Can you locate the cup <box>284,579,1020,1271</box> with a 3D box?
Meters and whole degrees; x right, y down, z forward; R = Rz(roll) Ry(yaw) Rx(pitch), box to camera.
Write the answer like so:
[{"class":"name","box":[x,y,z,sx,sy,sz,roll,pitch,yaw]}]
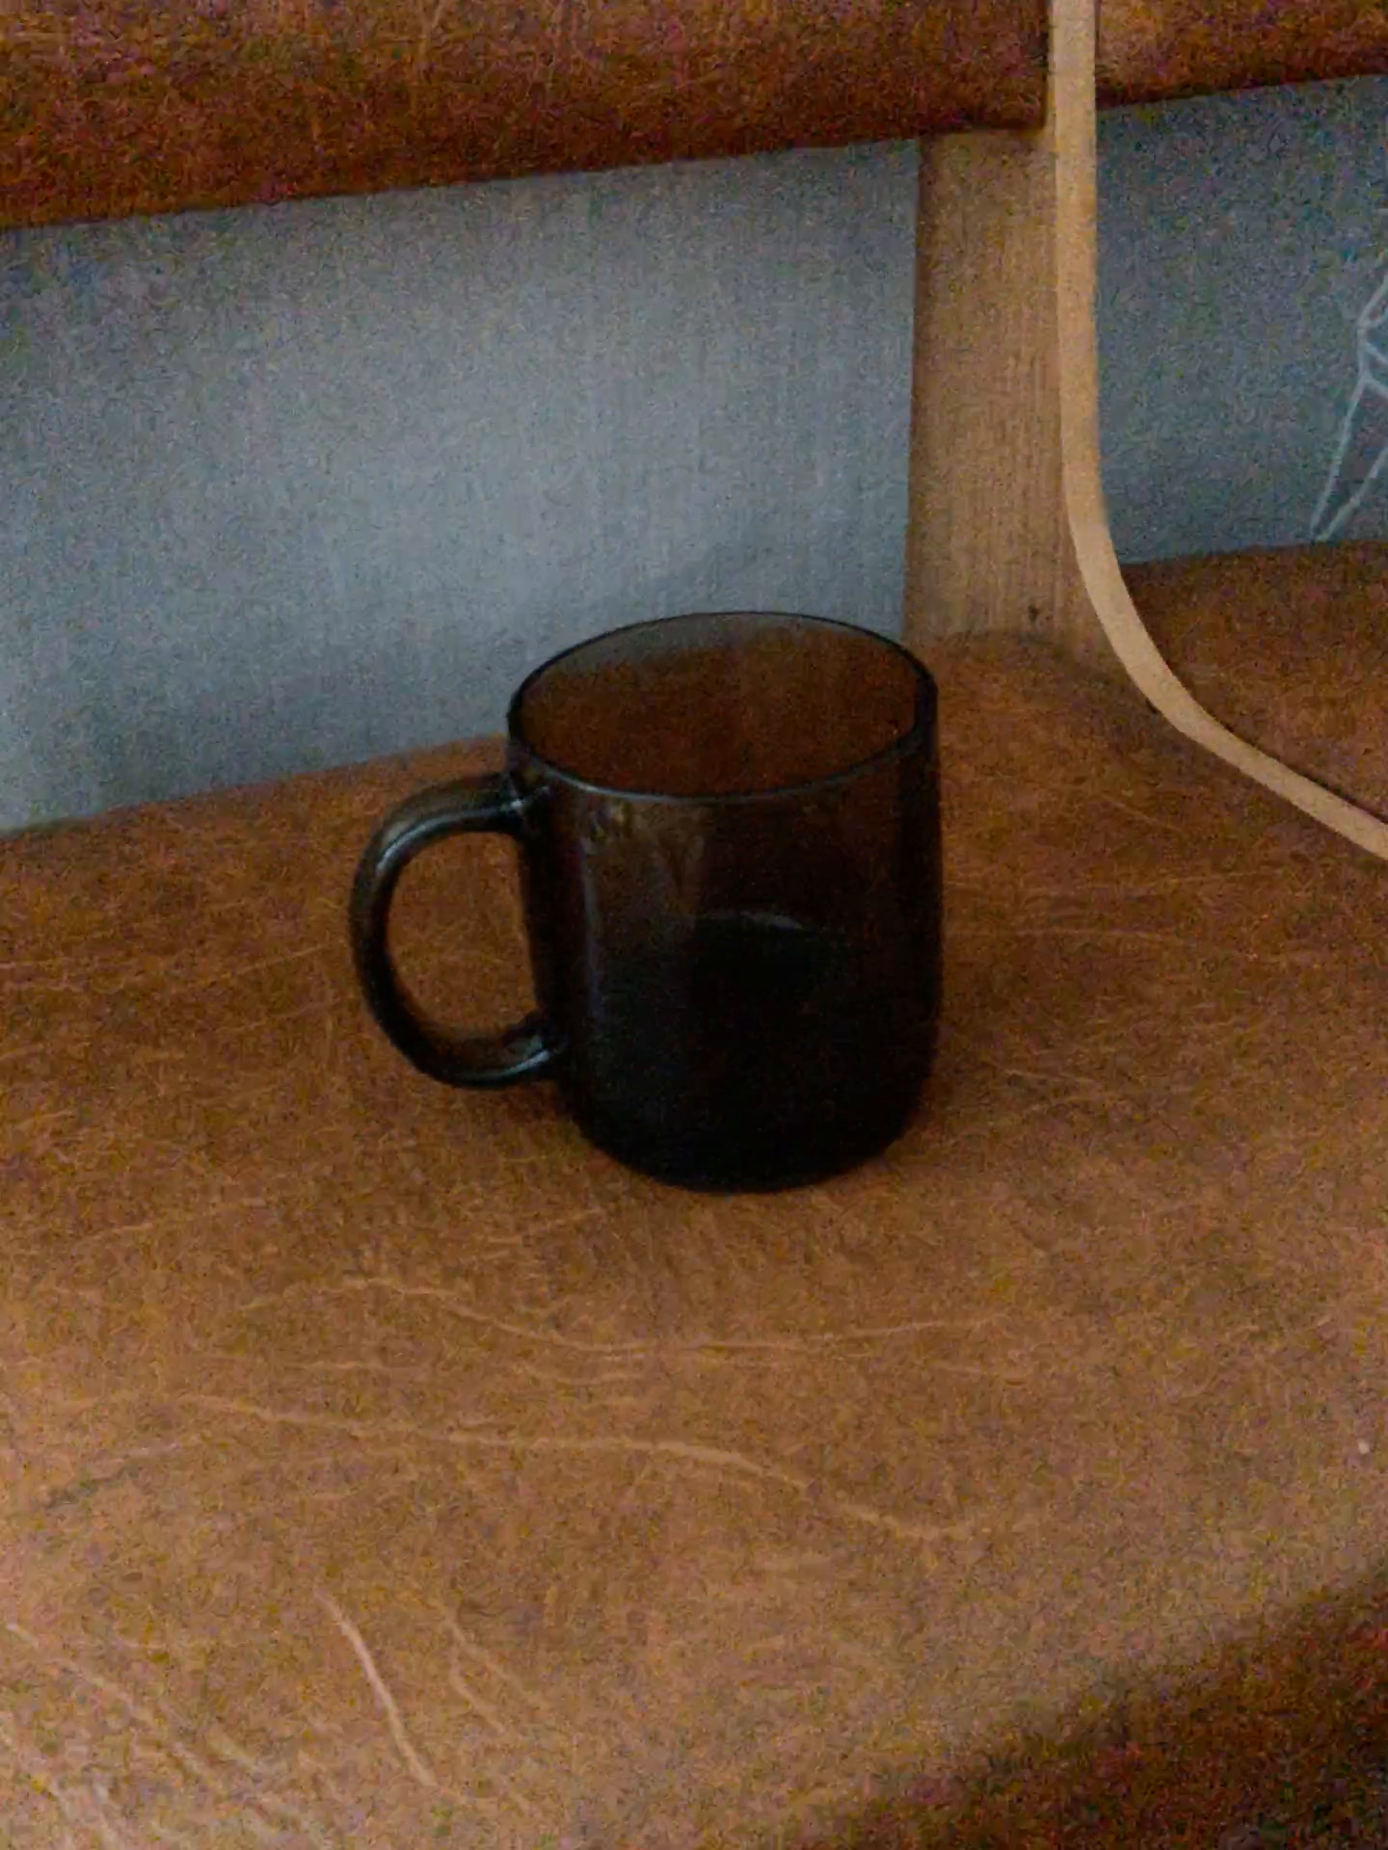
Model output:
[{"class":"cup","box":[-0.011,-0.005,0.284,0.120,0.089,0.081,-10,33,-10]}]
